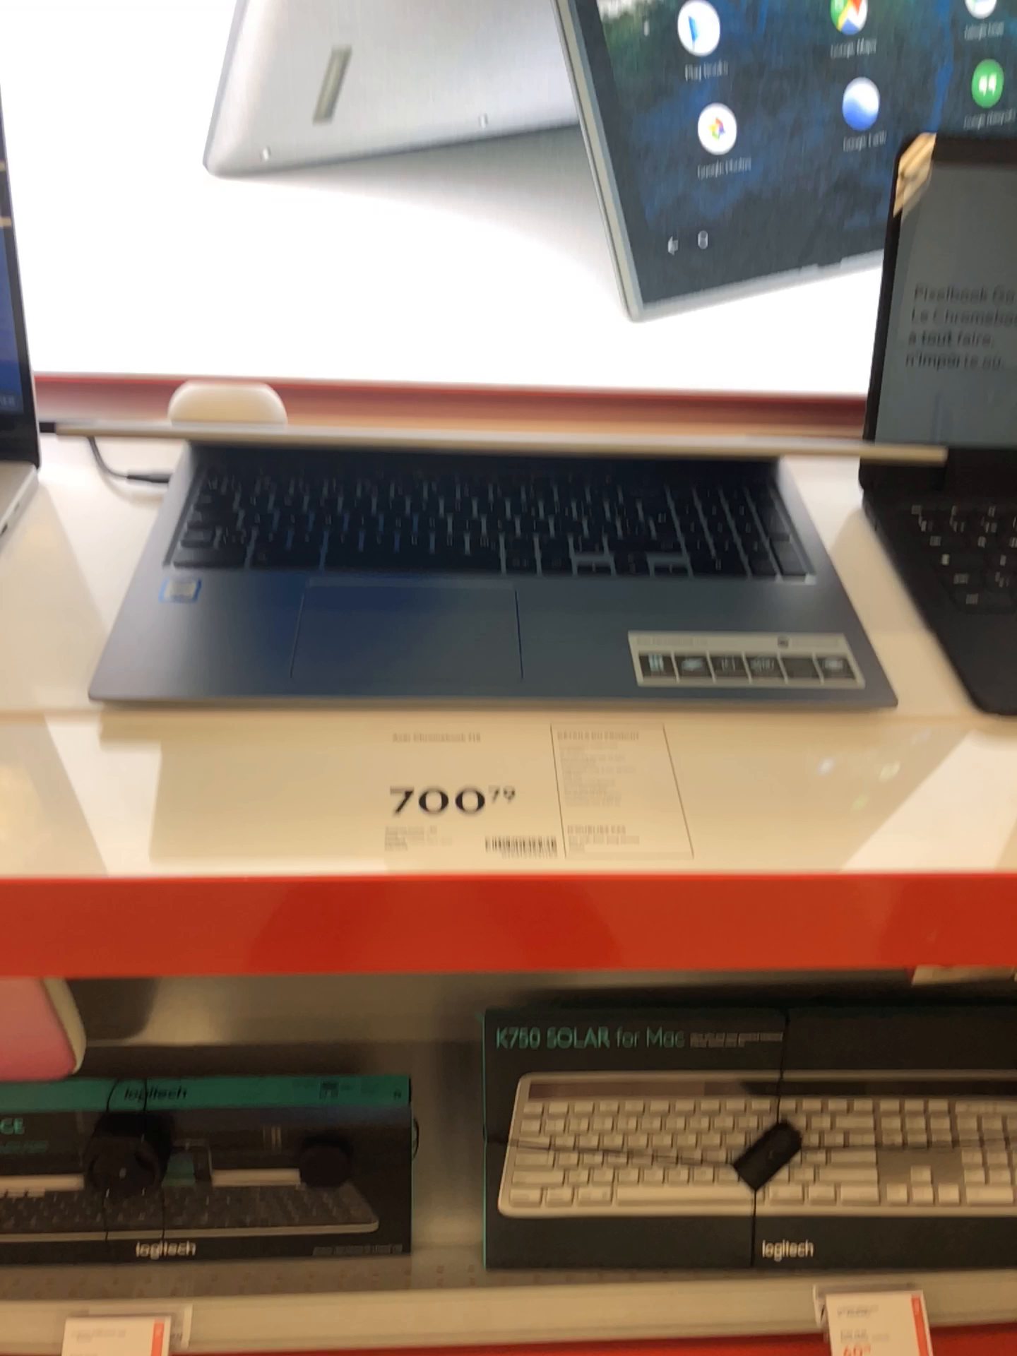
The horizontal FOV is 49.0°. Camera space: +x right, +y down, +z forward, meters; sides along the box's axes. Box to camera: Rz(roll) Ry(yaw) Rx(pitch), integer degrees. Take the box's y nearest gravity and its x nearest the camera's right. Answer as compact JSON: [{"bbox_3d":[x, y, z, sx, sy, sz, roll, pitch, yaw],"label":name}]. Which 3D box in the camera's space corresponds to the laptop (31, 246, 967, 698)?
[{"bbox_3d":[-0.003,-0.112,0.565,0.368,0.109,0.245,1,39,-6],"label":"laptop"}]
